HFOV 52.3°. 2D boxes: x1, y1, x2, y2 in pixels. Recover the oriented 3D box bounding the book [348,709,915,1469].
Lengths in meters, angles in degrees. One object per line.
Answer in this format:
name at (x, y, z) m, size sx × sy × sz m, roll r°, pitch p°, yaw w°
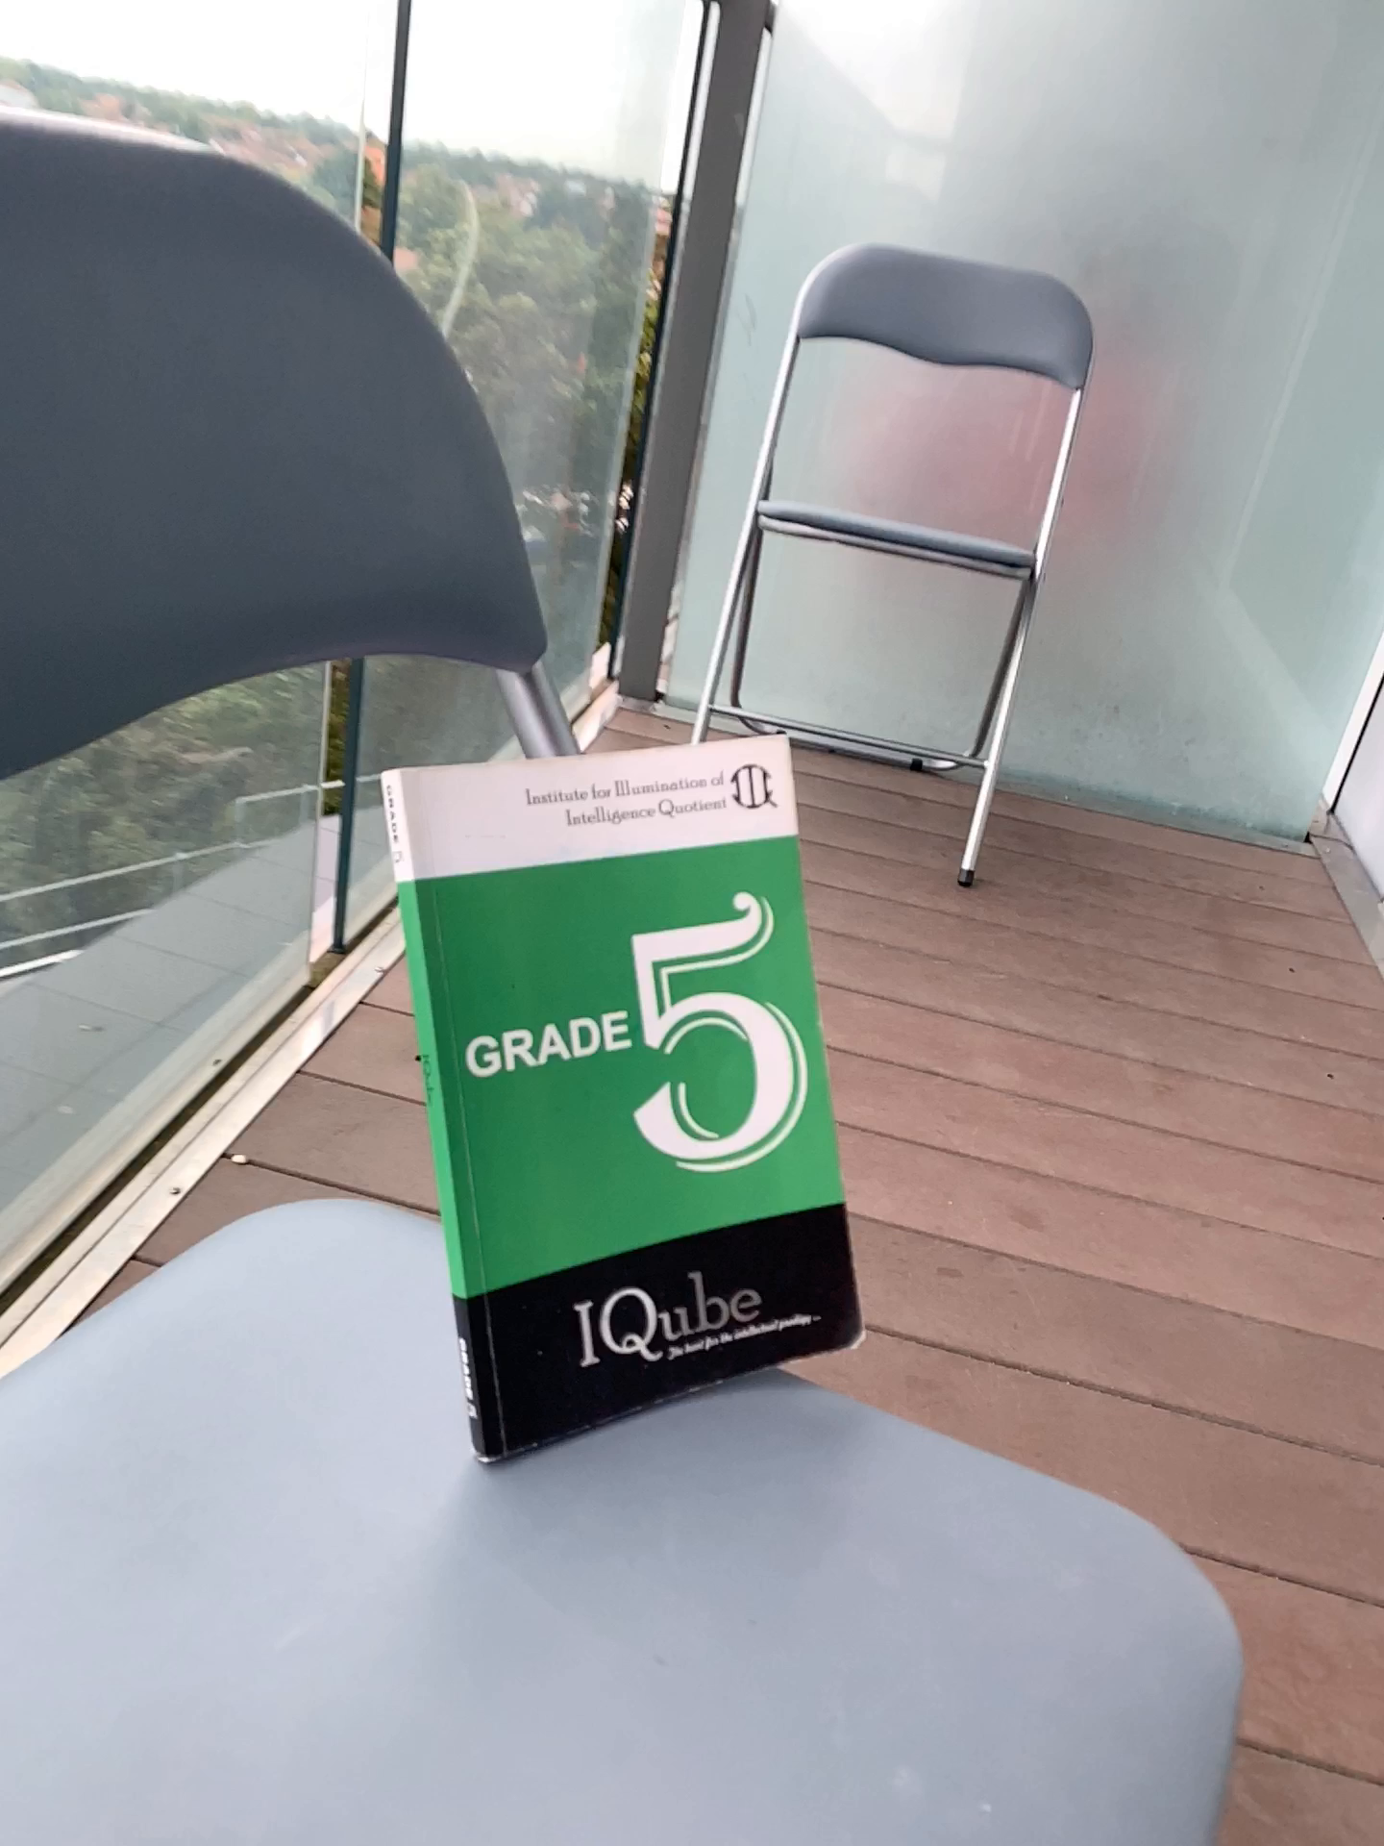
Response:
book at (-0.016, 0.043, 0.459) m, size 0.150 × 0.210 × 0.040 m, roll -9°, pitch -1°, yaw -28°
